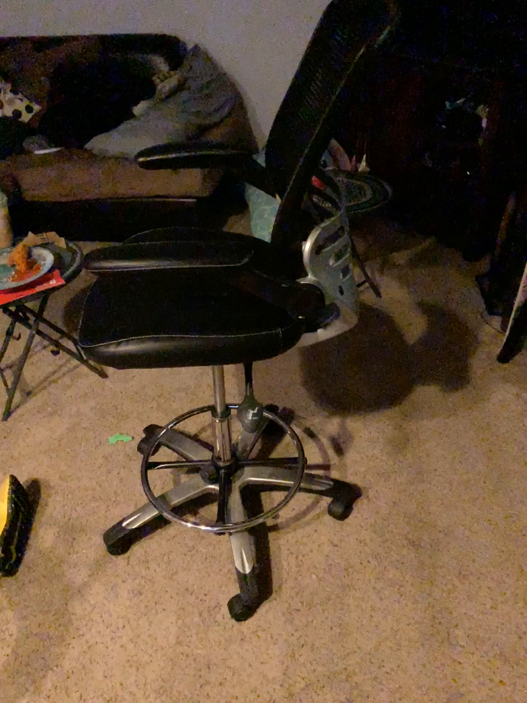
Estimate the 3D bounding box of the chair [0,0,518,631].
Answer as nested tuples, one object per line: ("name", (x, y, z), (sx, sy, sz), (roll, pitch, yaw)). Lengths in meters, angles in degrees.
("chair", (-0.085, -0.091, 1.239), (0.700, 1.120, 0.780), (-2, 37, 0))
